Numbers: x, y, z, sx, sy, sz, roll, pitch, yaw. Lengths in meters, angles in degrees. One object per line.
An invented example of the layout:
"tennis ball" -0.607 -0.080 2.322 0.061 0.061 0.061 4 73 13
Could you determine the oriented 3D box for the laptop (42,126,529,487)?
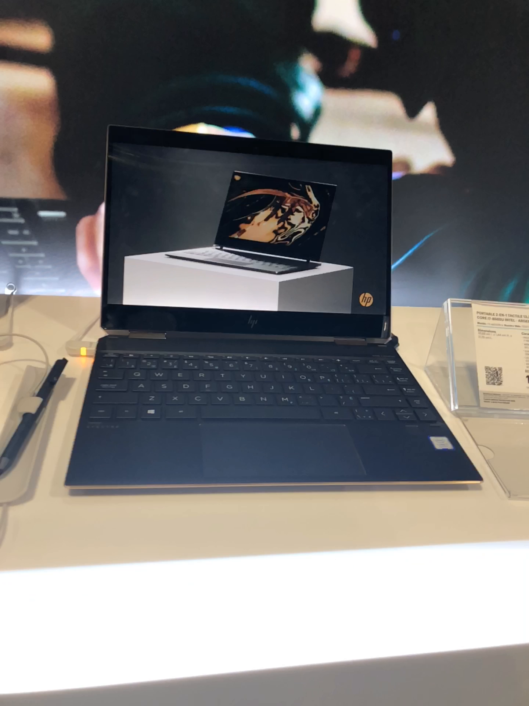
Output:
"laptop" 0.004 -0.070 0.520 0.305 0.172 0.347 1 29 -10
